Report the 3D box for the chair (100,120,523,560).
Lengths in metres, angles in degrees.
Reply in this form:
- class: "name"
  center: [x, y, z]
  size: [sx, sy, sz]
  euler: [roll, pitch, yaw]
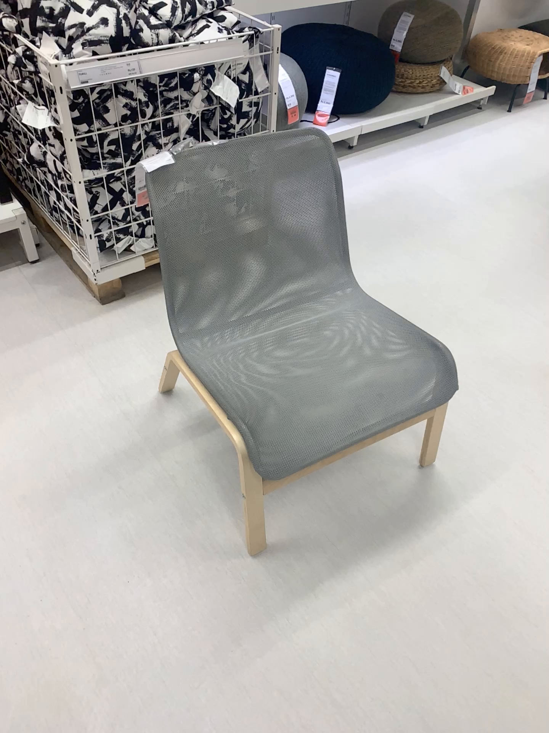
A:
- class: "chair"
  center: [0.024, -0.108, 1.476]
  size: [0.631, 0.697, 0.752]
  euler: [-20, 50, -23]
